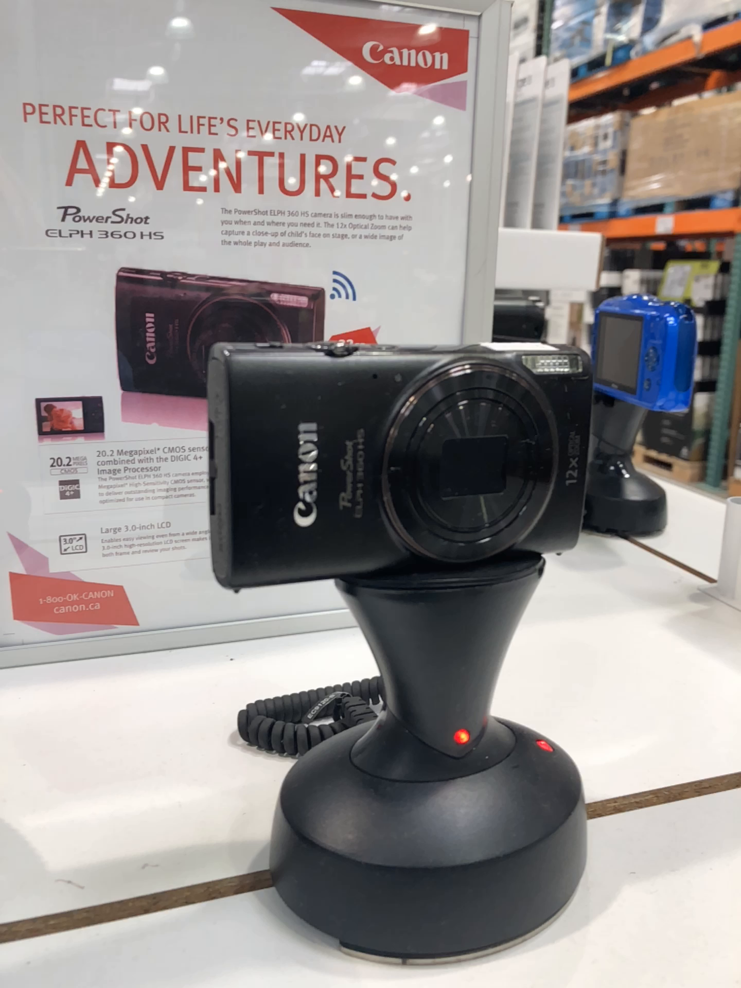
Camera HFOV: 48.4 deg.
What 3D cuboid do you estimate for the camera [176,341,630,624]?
[{"bbox_3d":[0.008,-0.008,0.220,0.110,0.060,0.040,-5,16,-21],"label":"camera"}]
